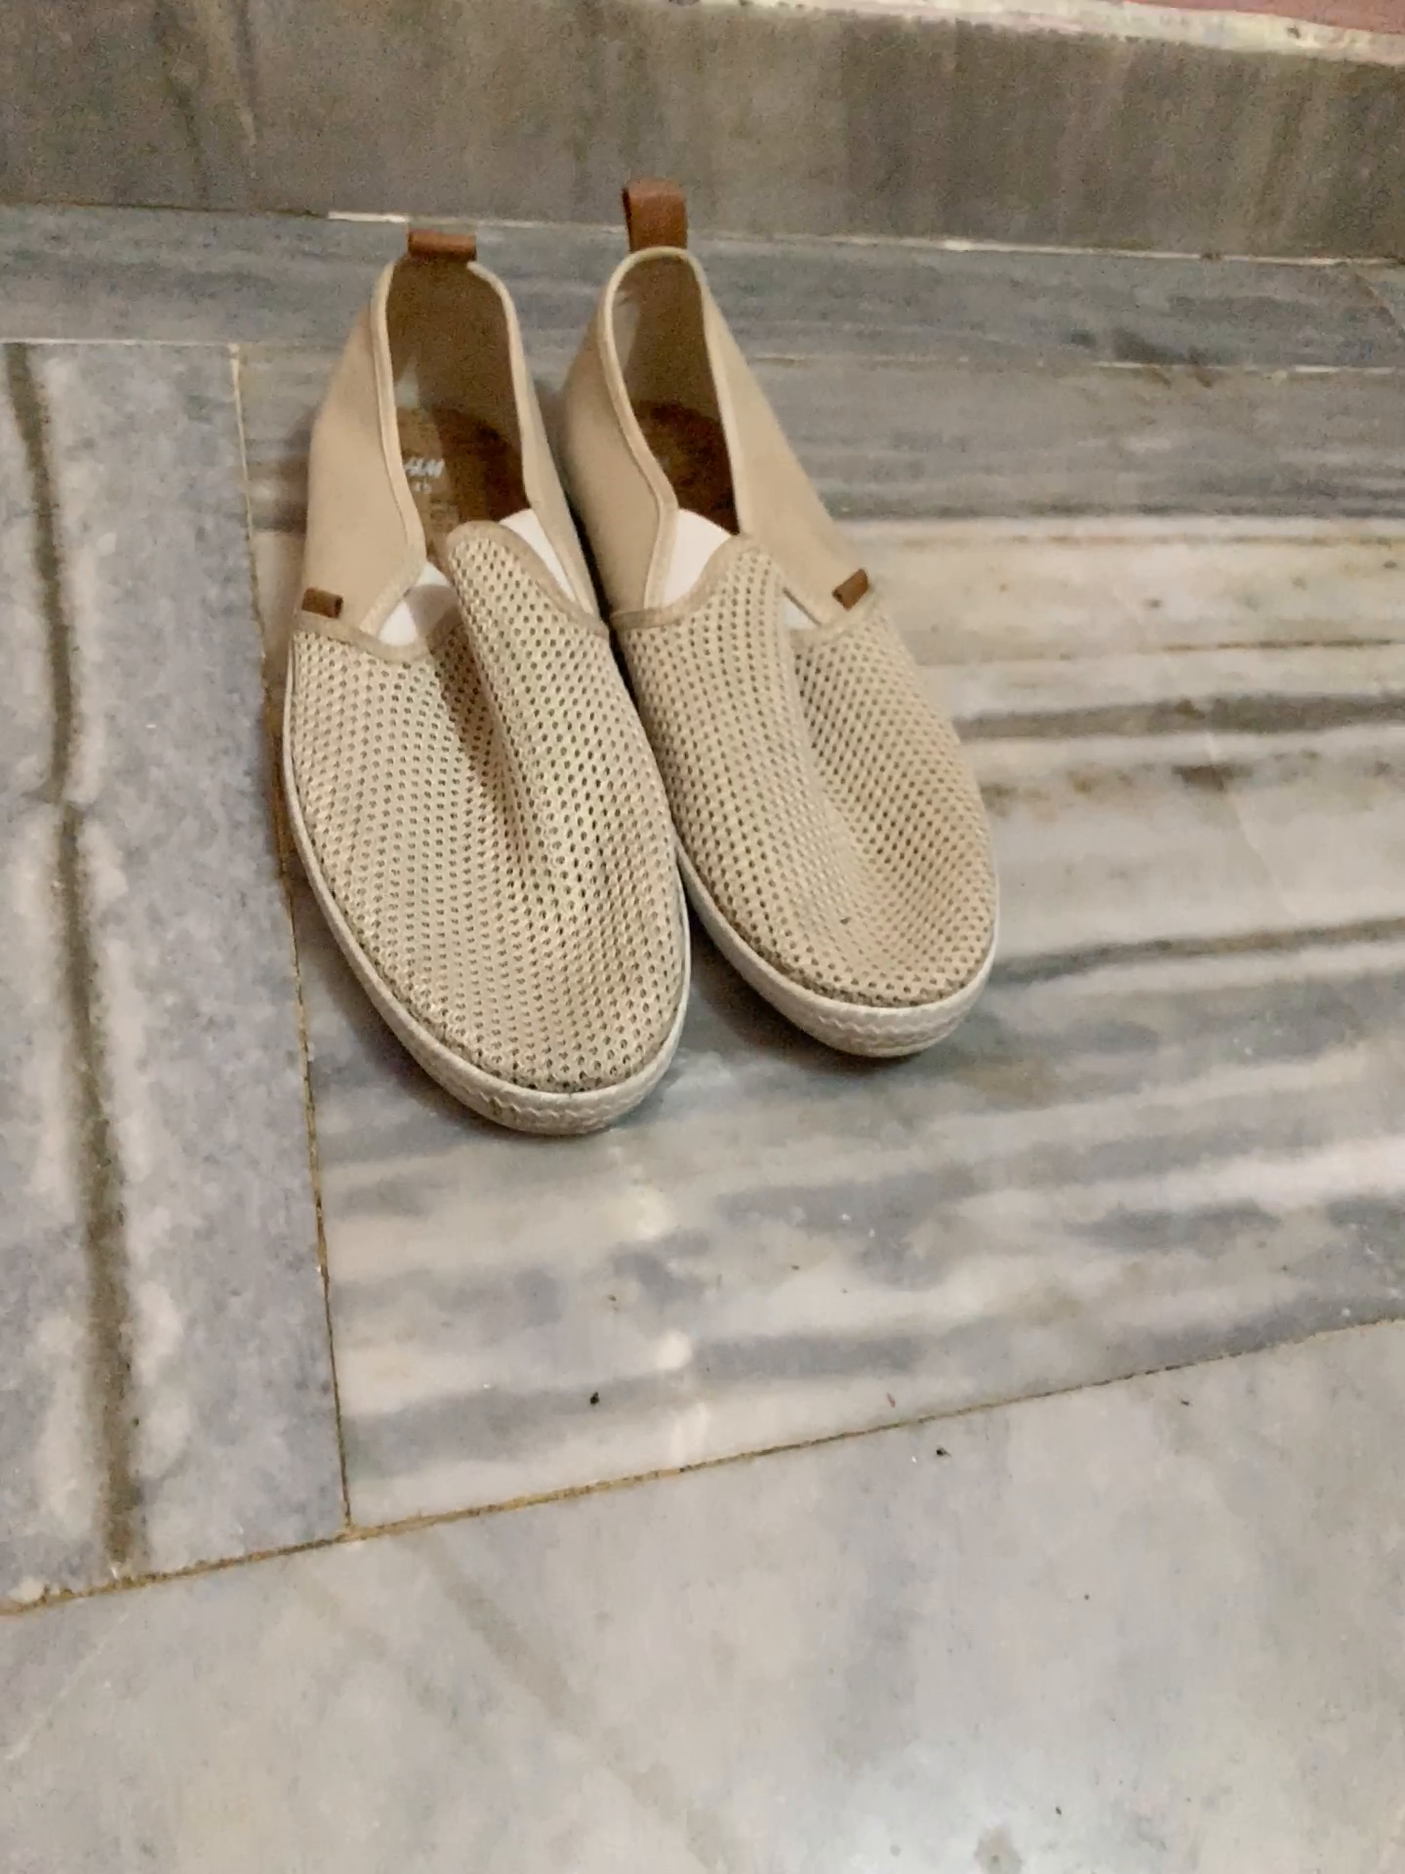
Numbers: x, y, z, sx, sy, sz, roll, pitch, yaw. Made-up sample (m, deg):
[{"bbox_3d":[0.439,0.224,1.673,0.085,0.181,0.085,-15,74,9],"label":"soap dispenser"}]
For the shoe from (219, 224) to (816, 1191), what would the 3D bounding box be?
[{"bbox_3d":[-0.073,-0.089,0.430,0.116,0.080,0.310,-5,54,-16],"label":"shoe"}]

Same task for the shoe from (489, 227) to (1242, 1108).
[{"bbox_3d":[0.028,-0.108,0.466,0.116,0.080,0.310,-9,55,-19],"label":"shoe"}]
